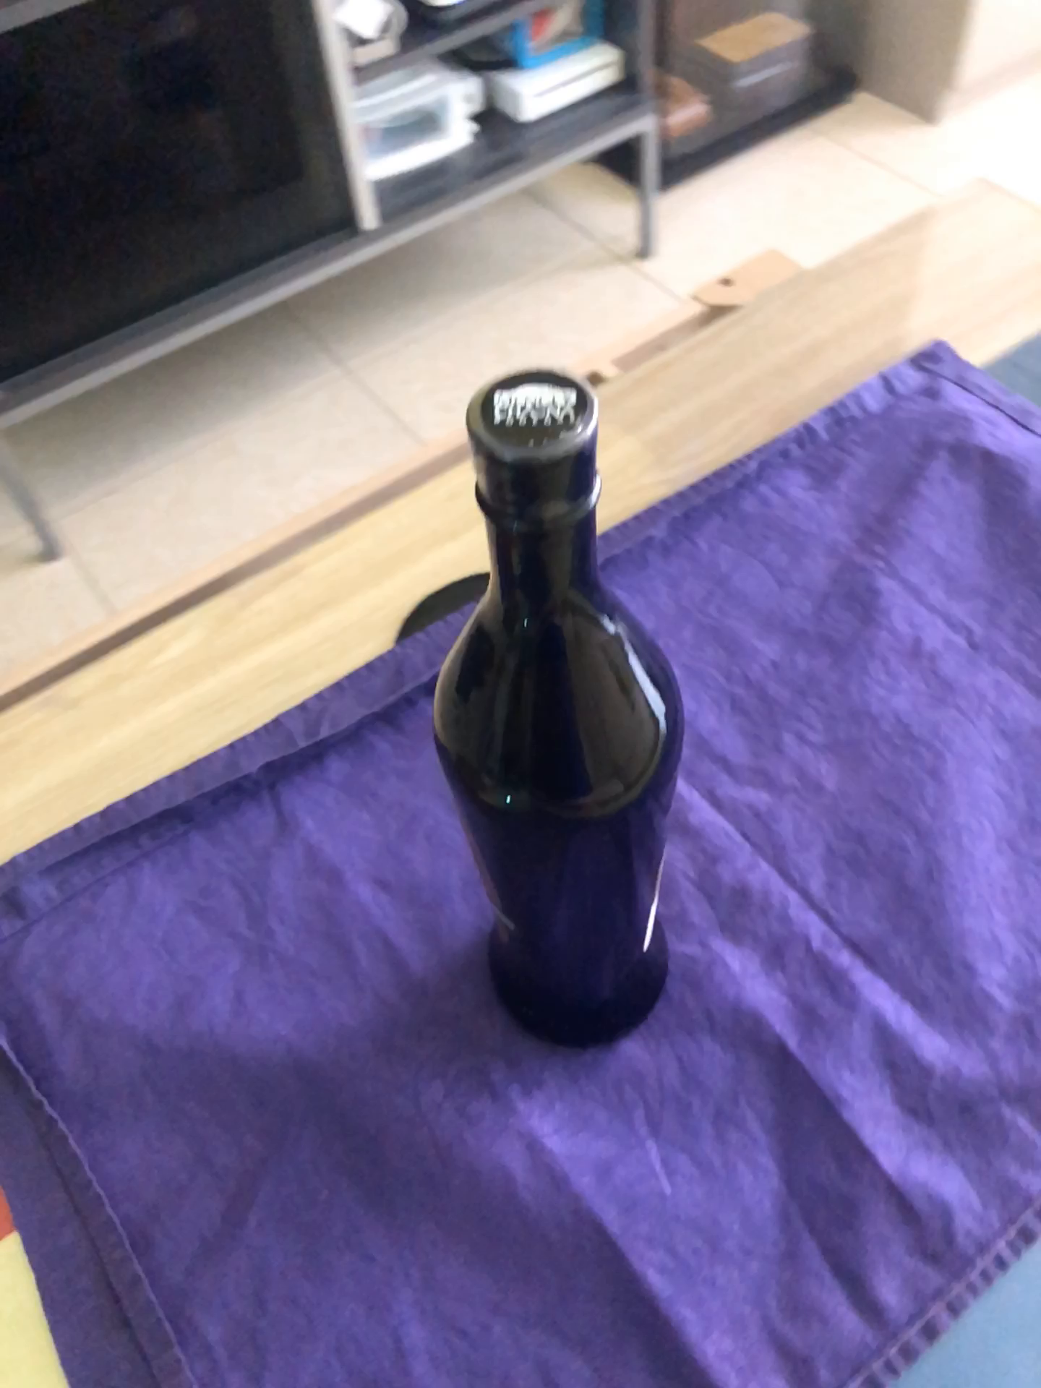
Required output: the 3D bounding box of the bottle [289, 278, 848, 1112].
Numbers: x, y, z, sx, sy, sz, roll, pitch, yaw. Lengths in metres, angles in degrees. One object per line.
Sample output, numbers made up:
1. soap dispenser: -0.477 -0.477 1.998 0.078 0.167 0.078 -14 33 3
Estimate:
1. bottle: 0.015 0.029 0.366 0.100 0.279 0.100 -3 54 4
